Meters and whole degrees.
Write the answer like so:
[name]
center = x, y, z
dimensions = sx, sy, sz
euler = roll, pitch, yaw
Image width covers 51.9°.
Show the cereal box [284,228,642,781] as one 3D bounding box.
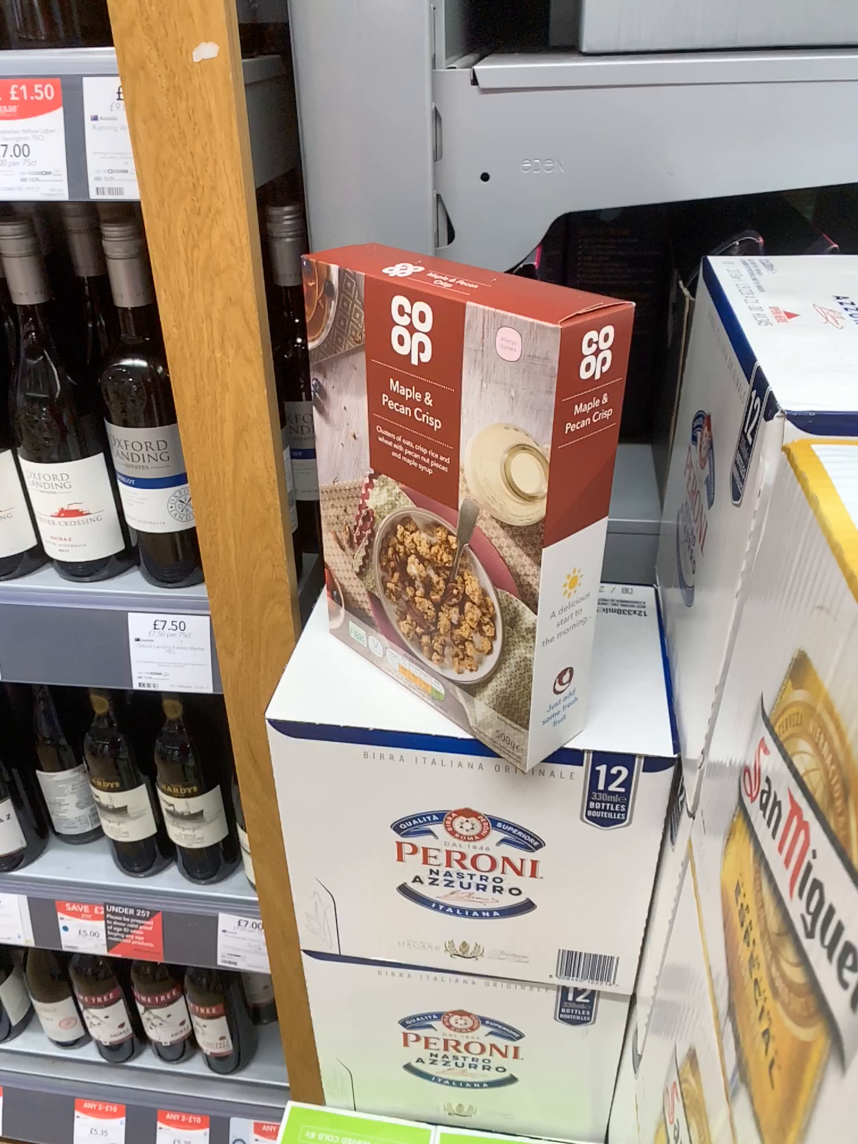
[cereal box]
center = 0.008, -0.040, 0.481
dimensions = 0.060, 0.248, 0.181
euler = -25, 39, -36
